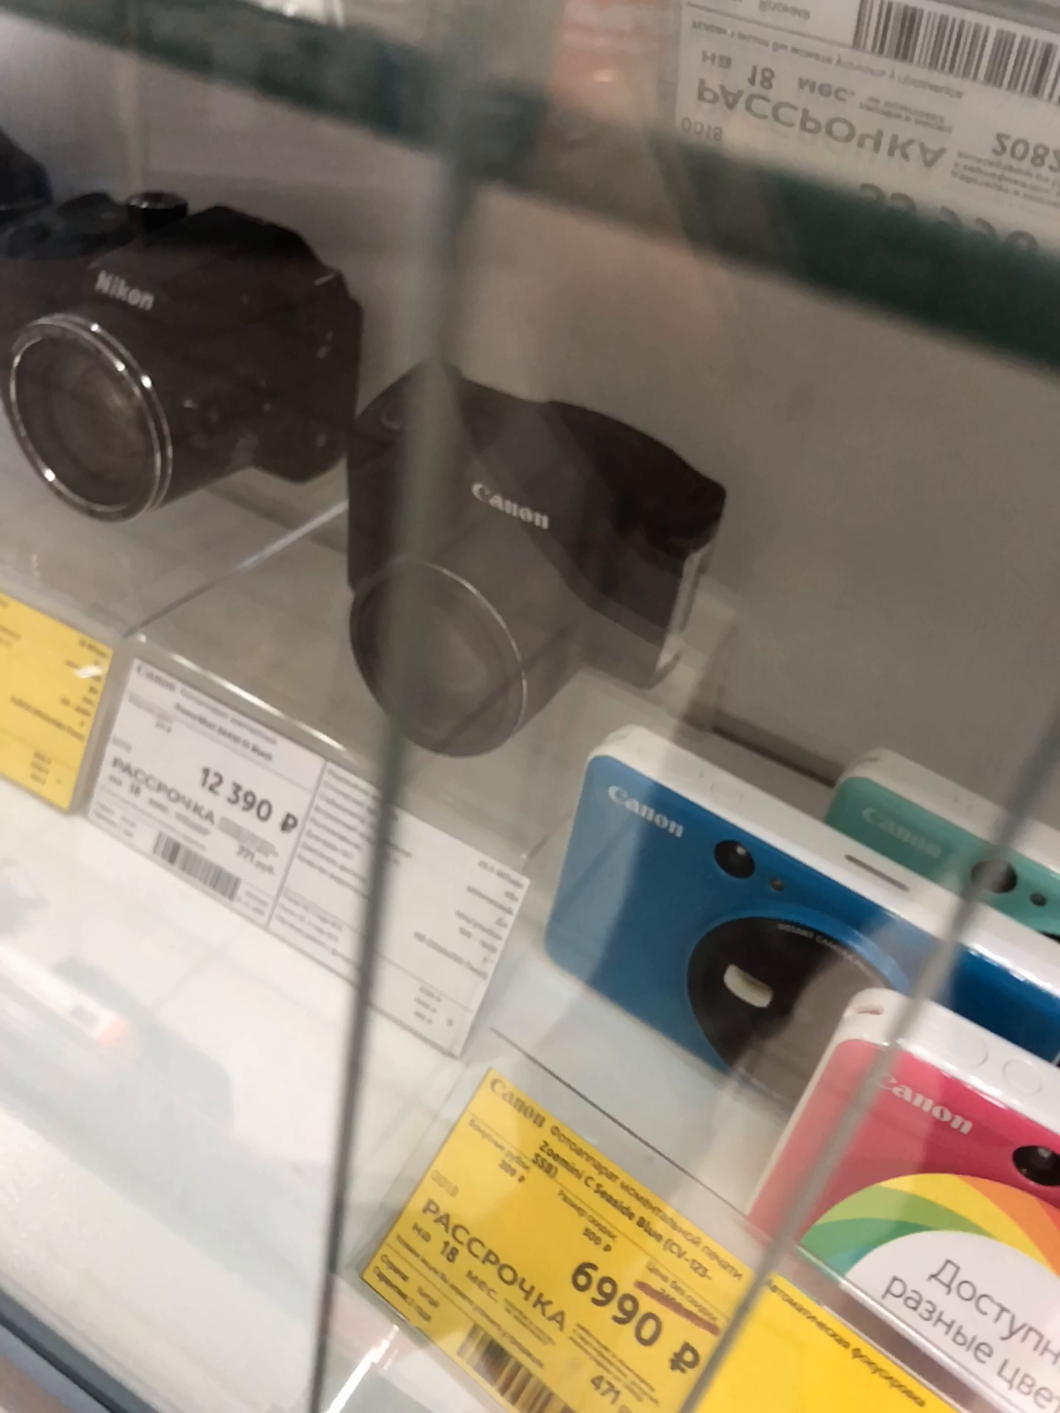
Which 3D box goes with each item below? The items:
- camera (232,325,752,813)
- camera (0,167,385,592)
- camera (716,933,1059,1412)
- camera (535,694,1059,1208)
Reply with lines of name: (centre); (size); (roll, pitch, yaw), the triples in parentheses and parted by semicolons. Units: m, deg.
camera: (-0.011, -0.044, 0.326); (0.100, 0.070, 0.093); (27, 41, 20)
camera: (-0.115, -0.103, 0.358); (0.100, 0.073, 0.093); (27, 41, 20)
camera: (0.103, 0.108, 0.235); (0.118, 0.073, 0.028); (29, 41, 22)
camera: (0.063, 0.058, 0.292); (0.118, 0.073, 0.028); (29, 41, 22)
